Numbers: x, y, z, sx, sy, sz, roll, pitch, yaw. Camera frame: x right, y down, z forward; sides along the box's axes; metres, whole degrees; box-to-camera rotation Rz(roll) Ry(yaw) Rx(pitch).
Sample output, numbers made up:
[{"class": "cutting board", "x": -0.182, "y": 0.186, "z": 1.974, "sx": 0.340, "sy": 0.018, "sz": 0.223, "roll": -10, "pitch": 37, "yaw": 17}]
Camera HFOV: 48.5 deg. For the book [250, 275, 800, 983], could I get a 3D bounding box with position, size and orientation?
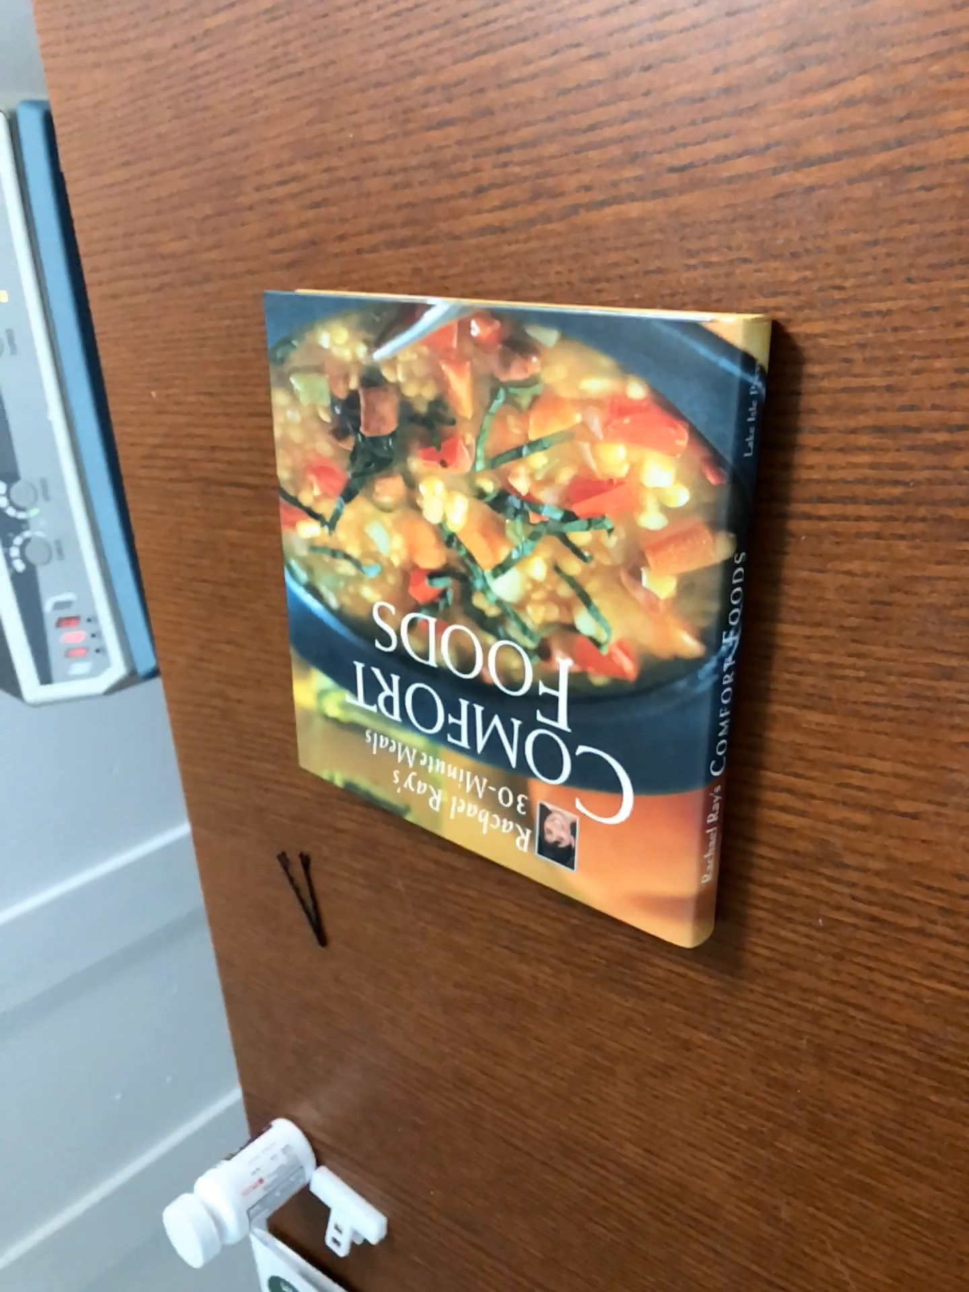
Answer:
[{"class": "book", "x": 0.000, "y": -0.017, "z": 0.380, "sx": 0.201, "sy": 0.030, "sz": 0.210, "roll": 18, "pitch": 118, "yaw": 38}]
